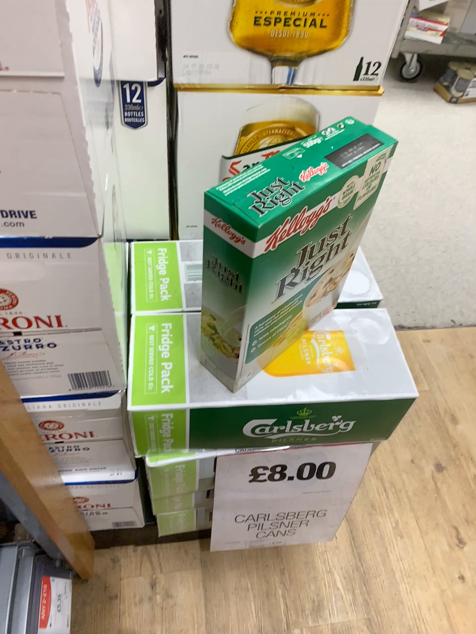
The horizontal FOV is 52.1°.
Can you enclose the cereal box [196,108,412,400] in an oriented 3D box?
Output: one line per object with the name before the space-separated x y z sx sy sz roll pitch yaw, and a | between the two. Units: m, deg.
cereal box | 0.054 -0.055 0.494 0.070 0.238 0.191 39 57 23
